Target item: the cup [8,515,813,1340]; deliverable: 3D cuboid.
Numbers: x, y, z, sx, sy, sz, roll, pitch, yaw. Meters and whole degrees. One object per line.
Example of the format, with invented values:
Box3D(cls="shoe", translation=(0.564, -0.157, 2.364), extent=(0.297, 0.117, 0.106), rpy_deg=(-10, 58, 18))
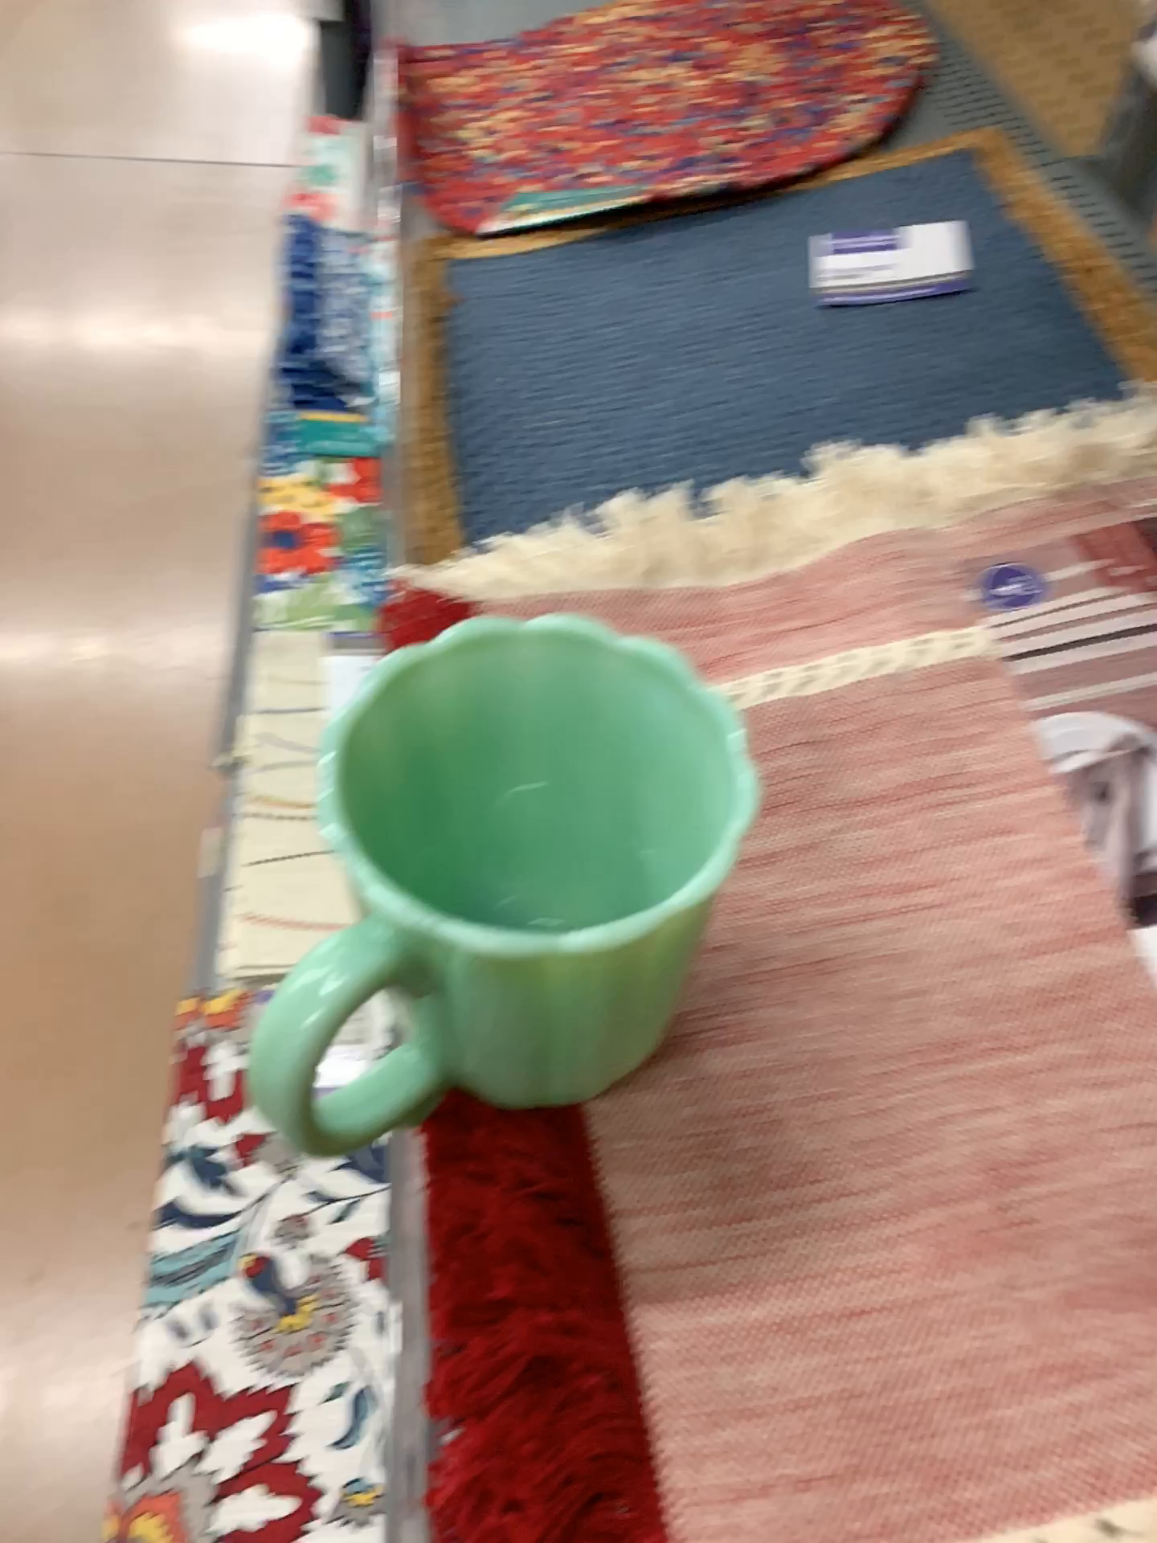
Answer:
Box3D(cls="cup", translation=(-0.029, 0.028, 0.263), extent=(0.090, 0.090, 0.130), rpy_deg=(32, 52, 21))
